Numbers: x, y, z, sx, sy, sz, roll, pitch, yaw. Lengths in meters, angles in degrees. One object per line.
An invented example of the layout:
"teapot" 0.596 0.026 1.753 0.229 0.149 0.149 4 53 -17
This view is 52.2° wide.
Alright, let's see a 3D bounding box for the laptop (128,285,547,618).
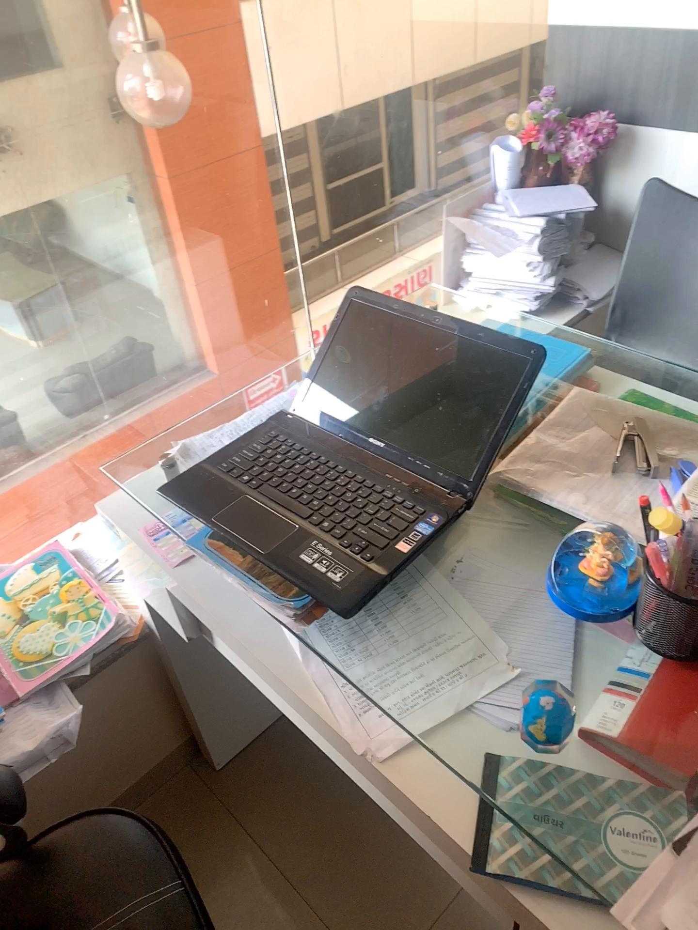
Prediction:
"laptop" -0.002 -0.047 0.771 0.286 0.111 0.337 27 49 34
